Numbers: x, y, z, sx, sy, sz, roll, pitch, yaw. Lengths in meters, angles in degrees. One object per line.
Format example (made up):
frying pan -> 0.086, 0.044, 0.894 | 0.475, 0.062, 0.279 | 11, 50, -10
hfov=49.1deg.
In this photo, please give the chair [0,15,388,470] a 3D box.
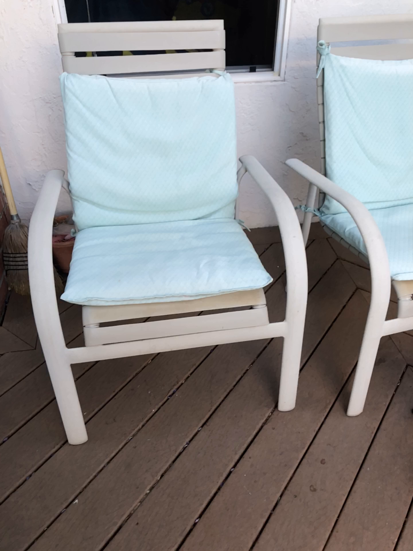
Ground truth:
chair -> -0.132, -0.168, 1.438 | 0.740, 0.994, 0.976 | -7, 39, -9
